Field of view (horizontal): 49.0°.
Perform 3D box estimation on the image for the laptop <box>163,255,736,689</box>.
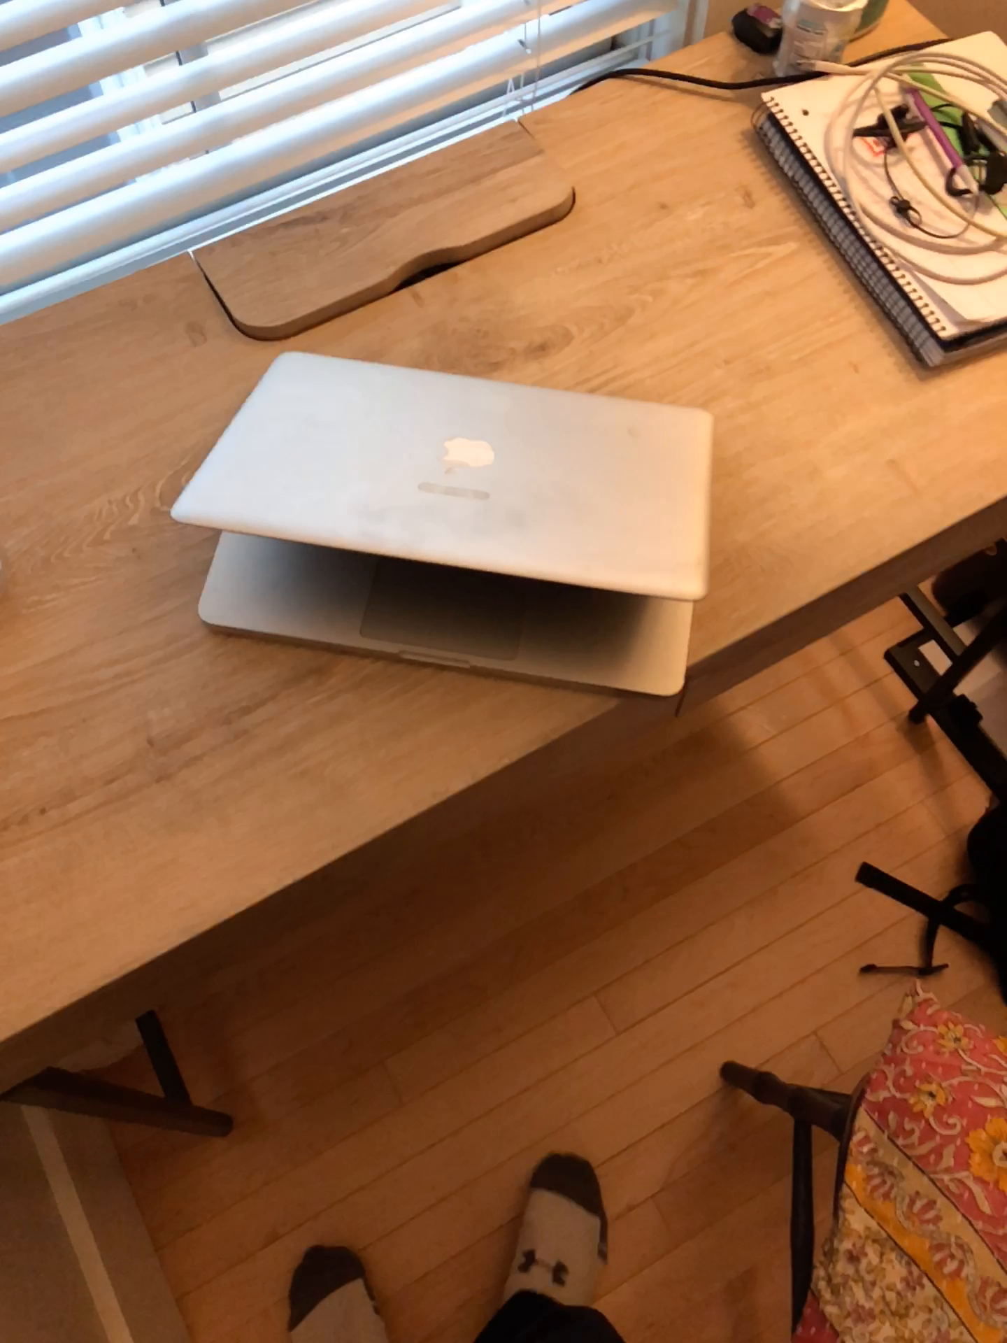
[{"bbox_3d":[-0.024,-0.135,0.721,0.318,0.090,0.229,9,65,5],"label":"laptop"}]
